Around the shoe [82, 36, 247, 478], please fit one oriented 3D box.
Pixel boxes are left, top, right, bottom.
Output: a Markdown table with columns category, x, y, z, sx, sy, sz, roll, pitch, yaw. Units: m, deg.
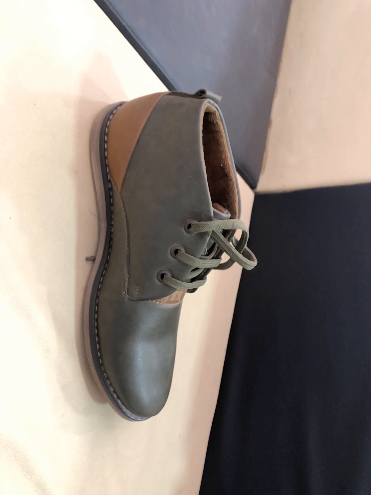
| category | x | y | z | sx | sy | sz | roll | pitch | yaw |
| --- | --- | --- | --- | --- | --- | --- | --- | --- | --- |
| shoe | -0.016 | 0.006 | 0.322 | 0.081 | 0.099 | 0.280 | -2 | 92 | -56 |
